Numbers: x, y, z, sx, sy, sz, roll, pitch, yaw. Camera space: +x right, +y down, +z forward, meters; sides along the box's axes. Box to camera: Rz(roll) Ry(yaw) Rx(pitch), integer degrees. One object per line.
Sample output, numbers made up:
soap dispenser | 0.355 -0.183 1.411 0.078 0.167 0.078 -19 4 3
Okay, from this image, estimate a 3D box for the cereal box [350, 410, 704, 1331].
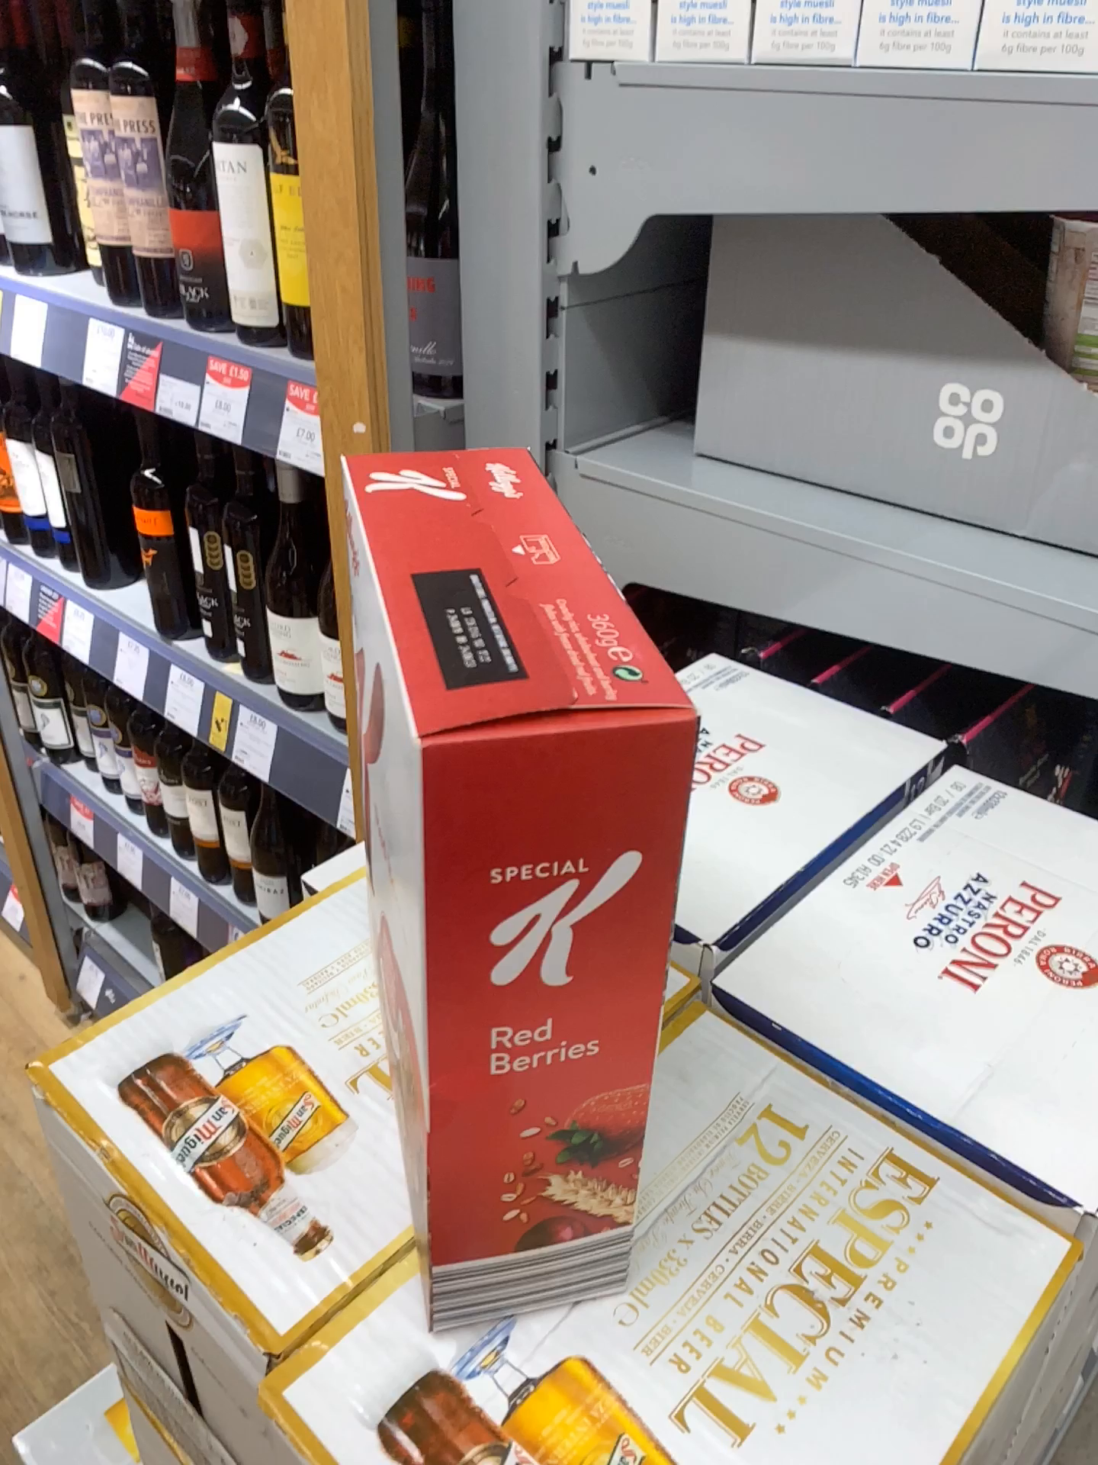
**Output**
cereal box | -0.024 0.036 0.392 0.070 0.238 0.202 -4 32 -11
